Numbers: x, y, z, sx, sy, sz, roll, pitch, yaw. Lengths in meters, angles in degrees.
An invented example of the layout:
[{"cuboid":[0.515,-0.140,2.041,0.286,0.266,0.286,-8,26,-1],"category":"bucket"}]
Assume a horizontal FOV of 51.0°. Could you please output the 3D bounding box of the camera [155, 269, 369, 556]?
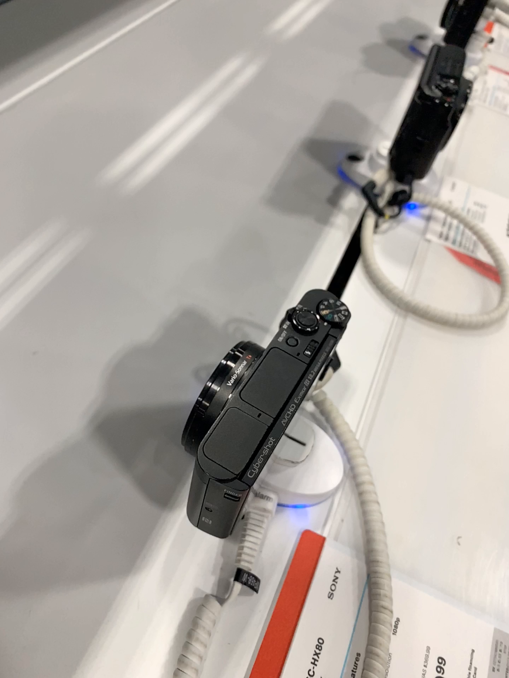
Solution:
[{"cuboid":[0.005,0.027,0.226,0.040,0.052,0.104,27,51,9],"category":"camera"}]
